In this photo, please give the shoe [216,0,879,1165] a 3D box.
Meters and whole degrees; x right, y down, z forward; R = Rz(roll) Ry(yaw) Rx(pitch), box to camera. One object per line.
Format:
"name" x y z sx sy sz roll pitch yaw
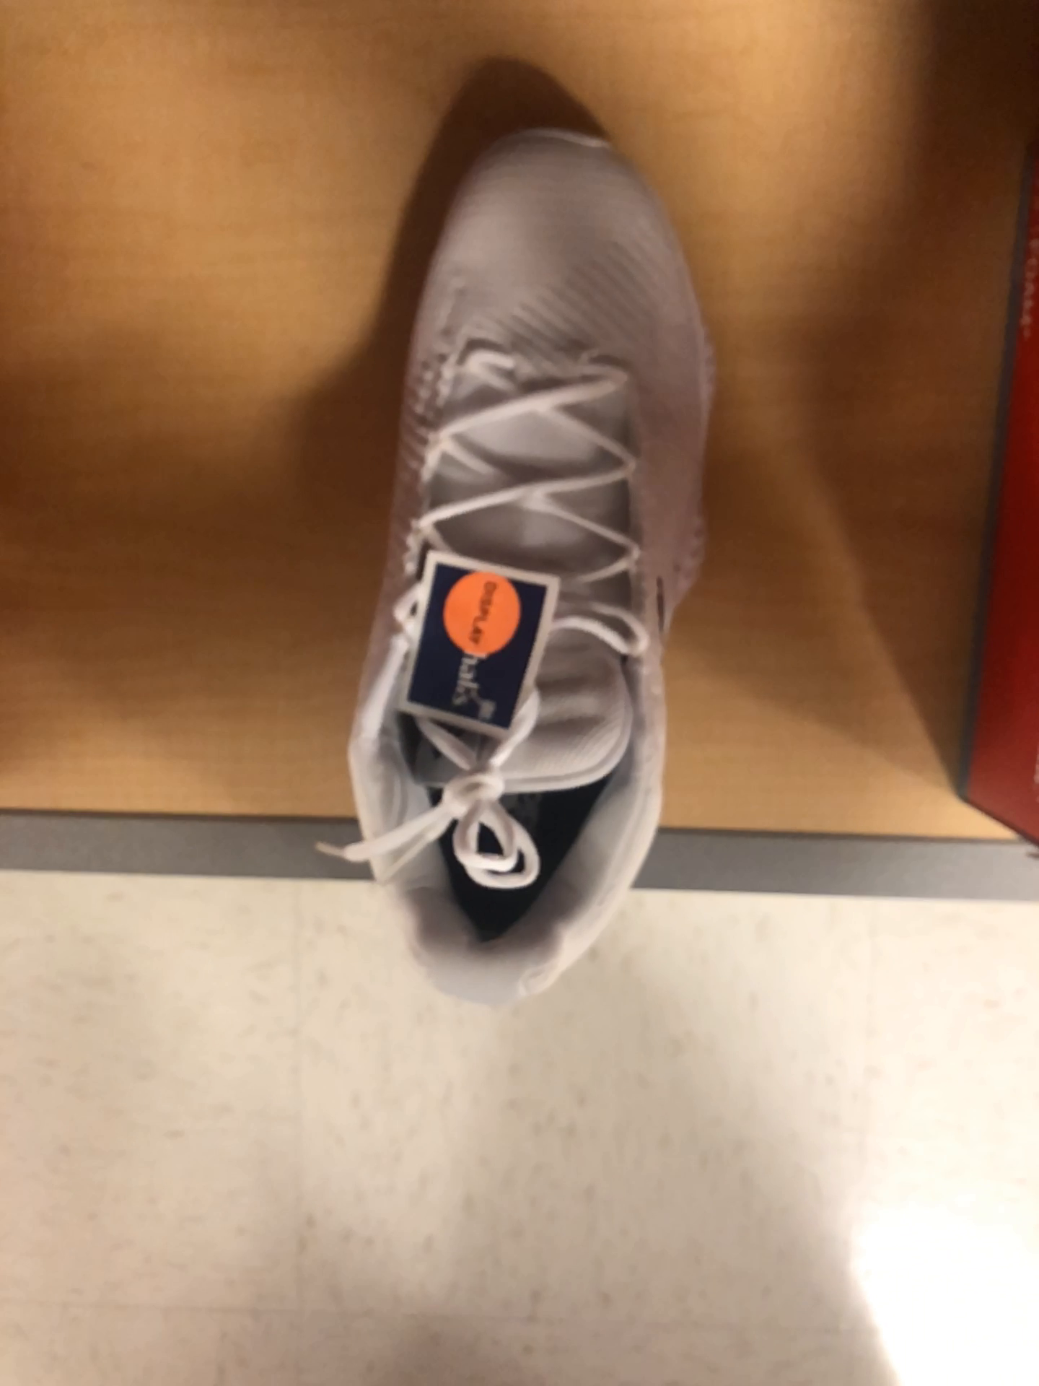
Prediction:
"shoe" 0.004 -0.056 0.368 0.120 0.150 0.336 8 96 1
